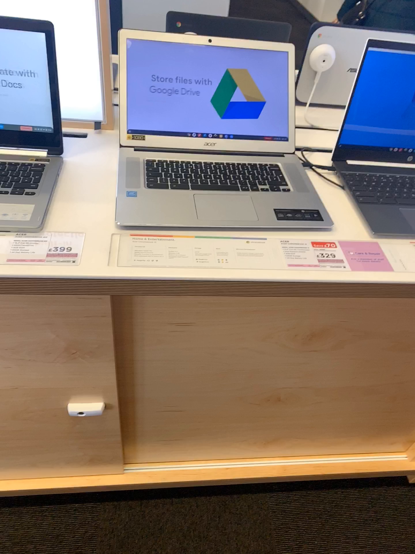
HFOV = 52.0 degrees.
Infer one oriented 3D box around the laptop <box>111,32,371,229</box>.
[{"bbox_3d":[0.022,-0.292,0.808,0.375,0.168,0.433,0,44,-10],"label":"laptop"}]
